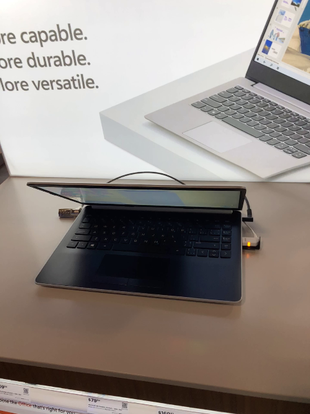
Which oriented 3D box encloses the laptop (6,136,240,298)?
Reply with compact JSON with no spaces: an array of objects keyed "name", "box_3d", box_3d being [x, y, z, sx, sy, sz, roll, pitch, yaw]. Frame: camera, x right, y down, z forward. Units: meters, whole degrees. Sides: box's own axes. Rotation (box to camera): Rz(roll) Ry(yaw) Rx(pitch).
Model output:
[{"name":"laptop","box_3d":[-0.022,-0.001,0.554,0.302,0.155,0.226,2,31,14]}]
